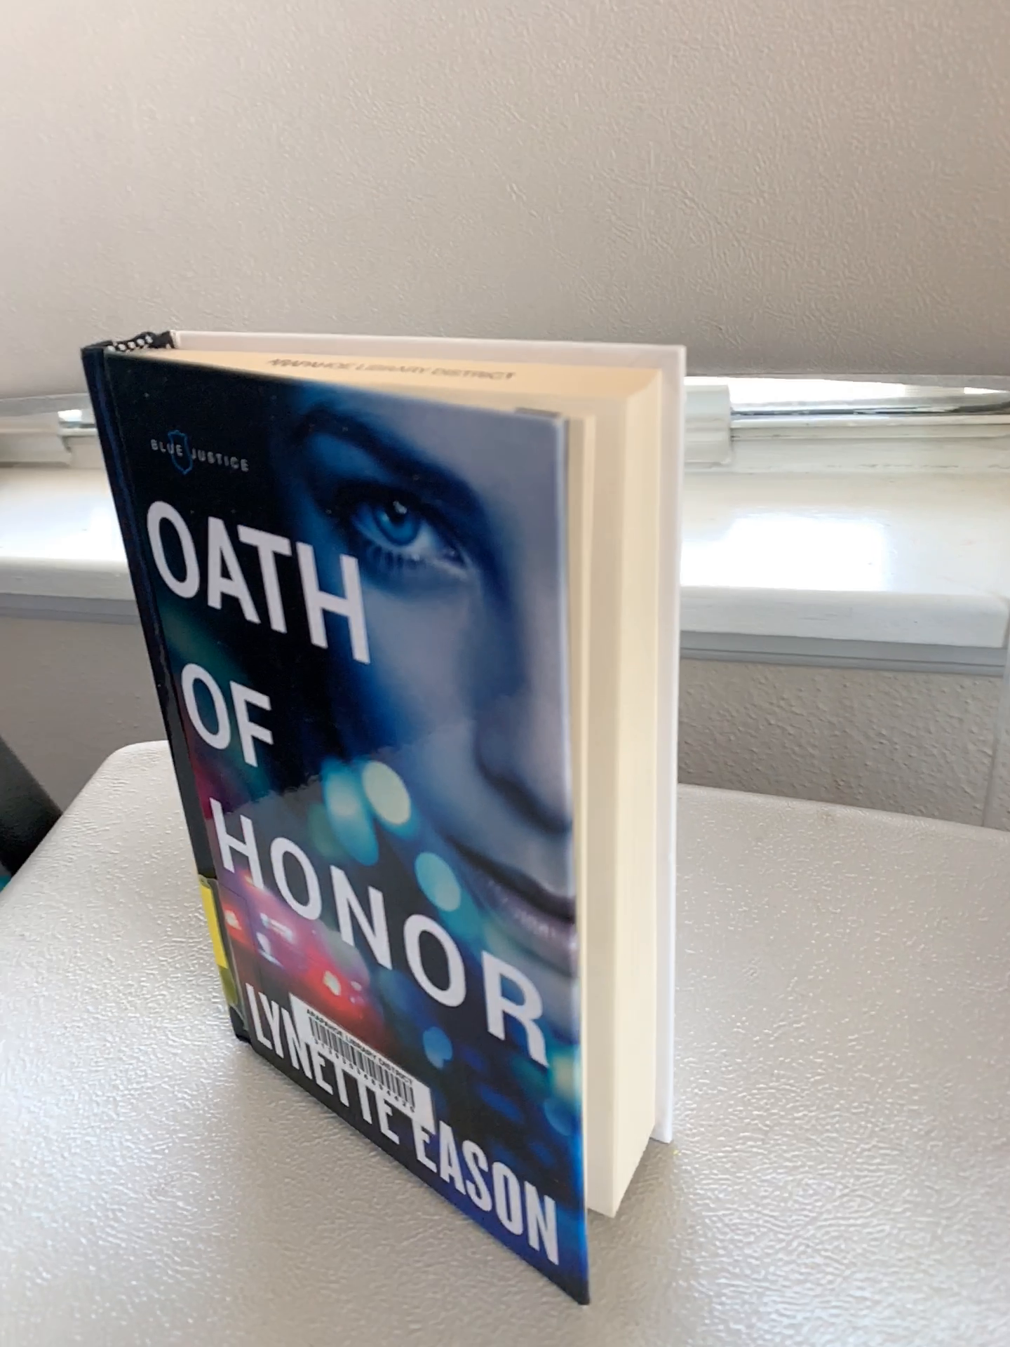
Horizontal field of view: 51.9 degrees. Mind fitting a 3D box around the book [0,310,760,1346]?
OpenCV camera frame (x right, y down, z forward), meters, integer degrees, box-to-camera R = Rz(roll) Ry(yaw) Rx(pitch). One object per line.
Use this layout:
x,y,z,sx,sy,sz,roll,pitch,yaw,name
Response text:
-0.027,0.028,0.257,0.155,0.217,0.063,13,29,32,book
